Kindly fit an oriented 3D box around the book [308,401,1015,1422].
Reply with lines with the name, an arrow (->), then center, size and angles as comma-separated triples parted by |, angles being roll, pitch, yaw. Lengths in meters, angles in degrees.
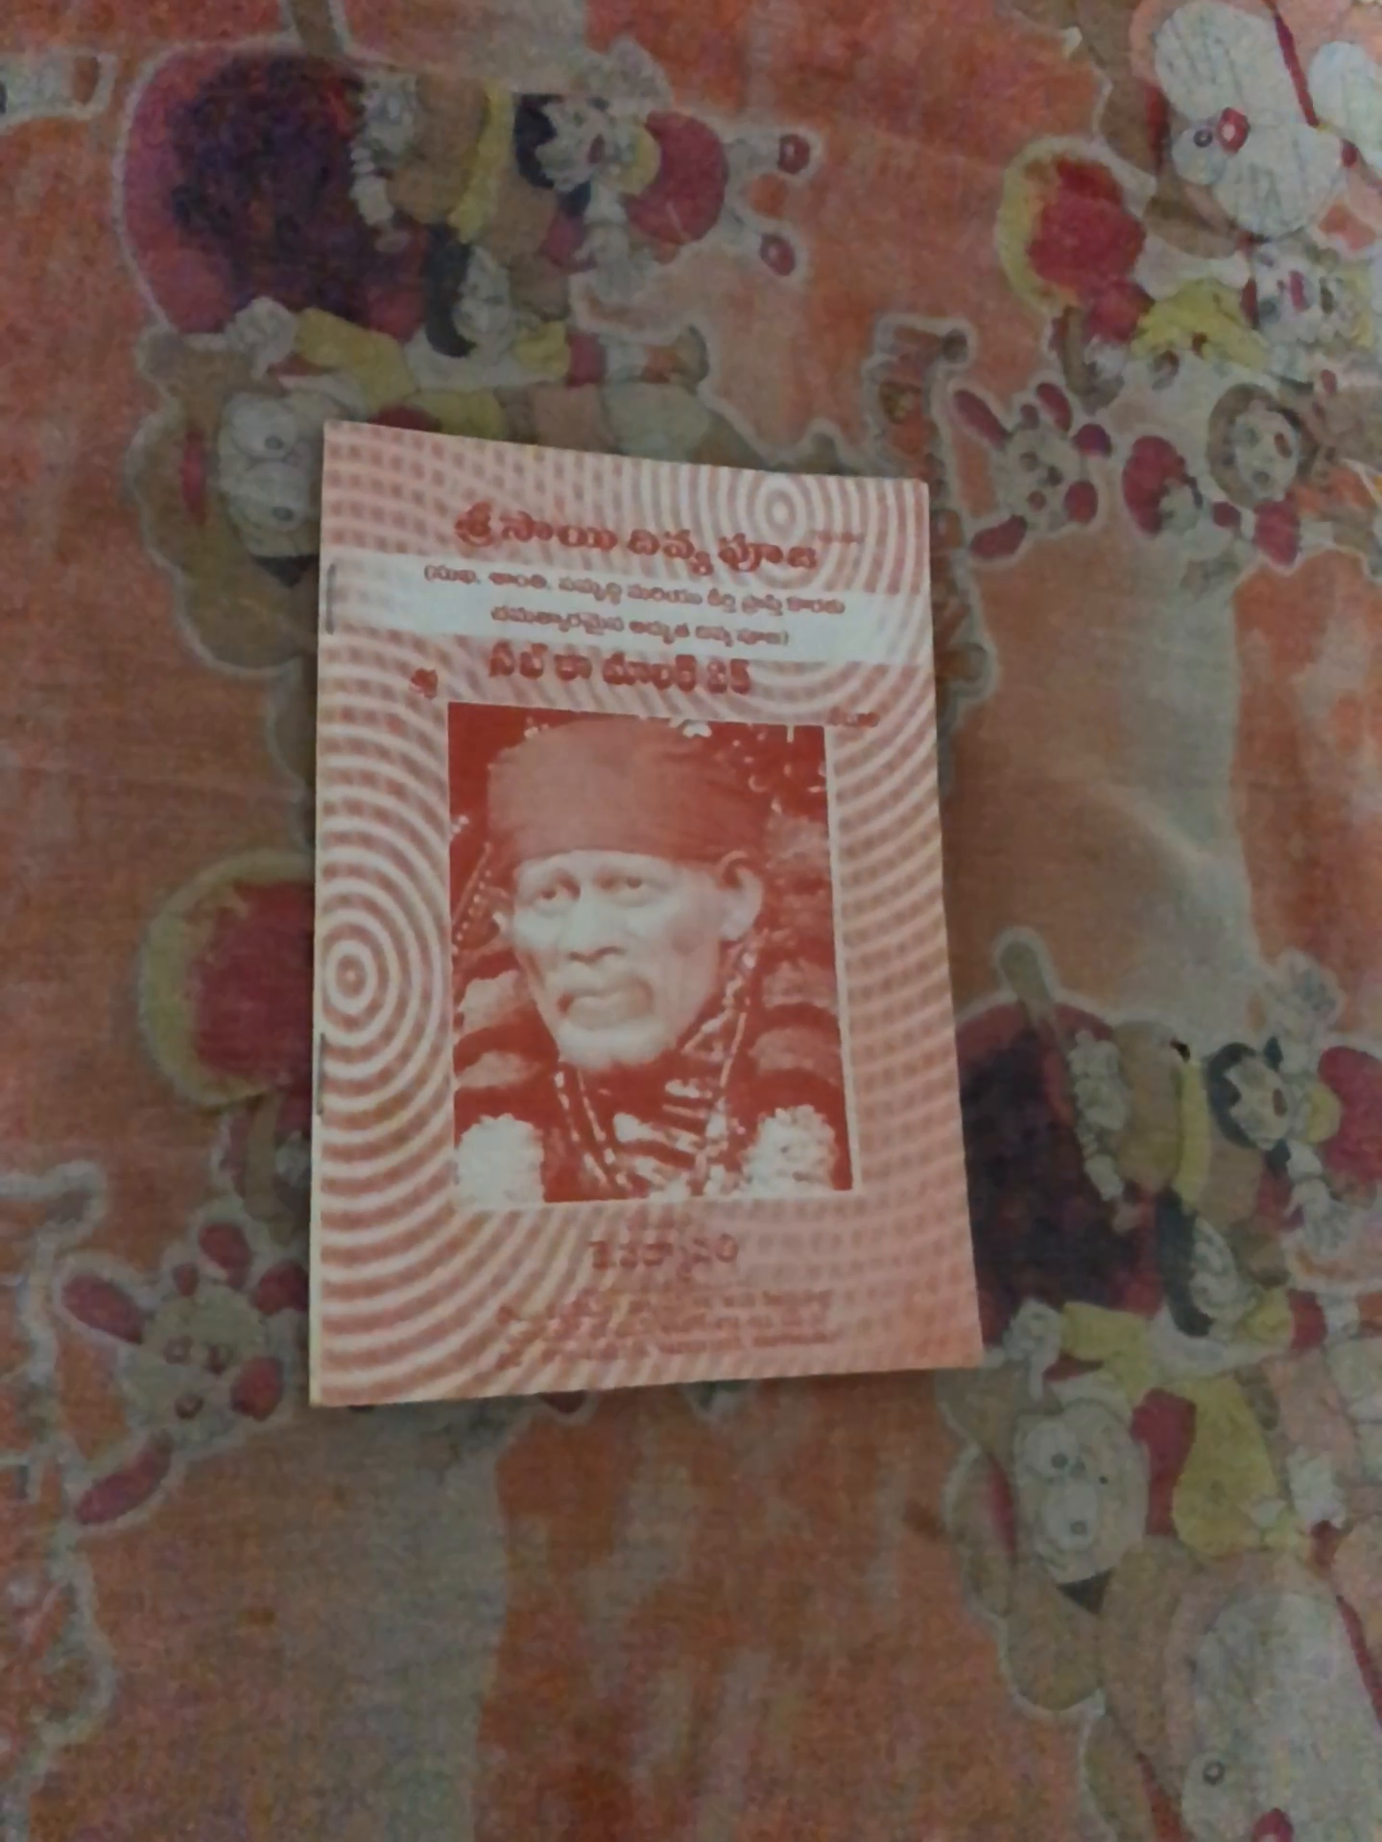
book -> -0.005, -0.005, 0.277 | 0.120, 0.010, 0.173 | 2, 77, -17
